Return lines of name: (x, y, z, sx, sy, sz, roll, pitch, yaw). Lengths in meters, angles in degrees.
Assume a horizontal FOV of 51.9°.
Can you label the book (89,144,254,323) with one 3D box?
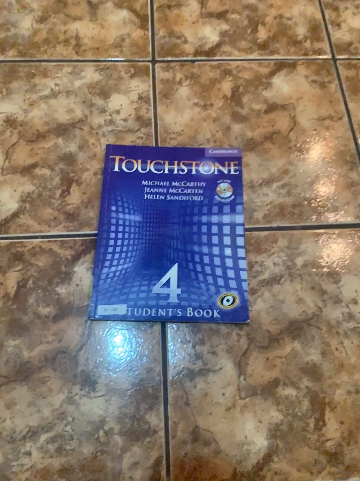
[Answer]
book: (-0.011, -0.020, 0.542, 0.219, 0.010, 0.275, 1, 70, -2)
